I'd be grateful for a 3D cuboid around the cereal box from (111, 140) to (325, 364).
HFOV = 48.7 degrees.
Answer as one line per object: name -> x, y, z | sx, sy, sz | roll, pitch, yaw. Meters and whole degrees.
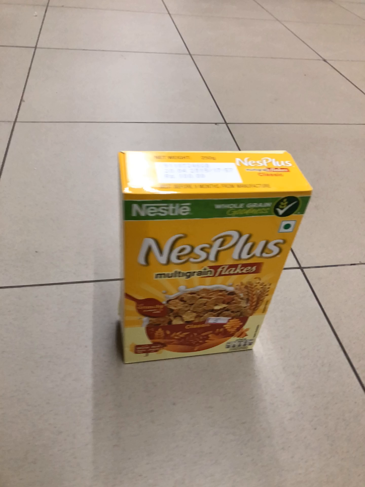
cereal box -> 0.013, 0.016, 0.348 | 0.140, 0.199, 0.060 | -3, 43, -11
